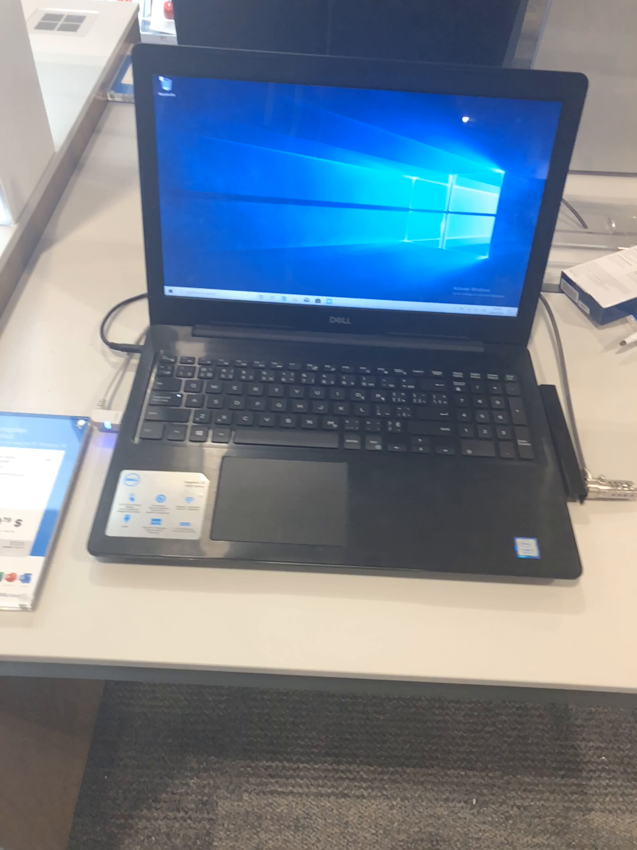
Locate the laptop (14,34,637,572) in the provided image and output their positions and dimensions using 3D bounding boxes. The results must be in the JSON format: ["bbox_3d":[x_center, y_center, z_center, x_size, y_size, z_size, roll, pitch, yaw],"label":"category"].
[{"bbox_3d":[0.023,-0.103,0.550,0.363,0.224,0.337,3,51,-1],"label":"laptop"}]
